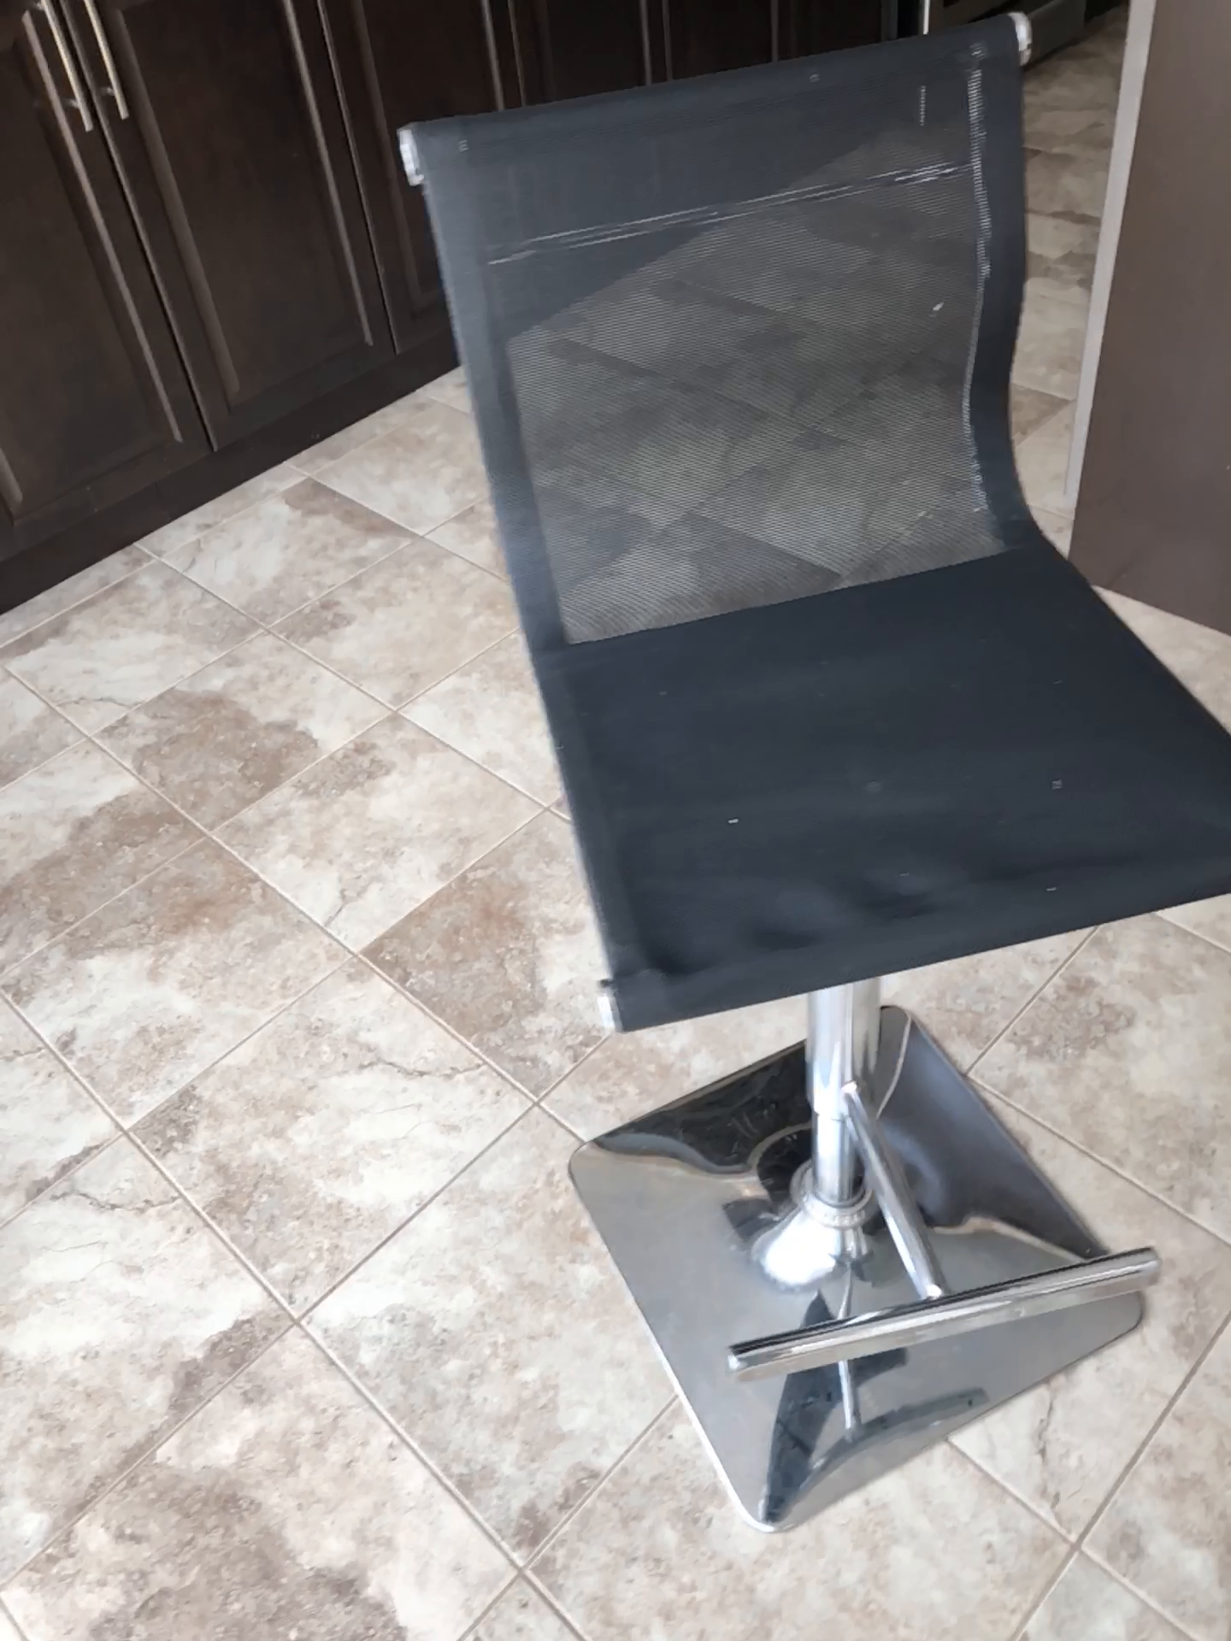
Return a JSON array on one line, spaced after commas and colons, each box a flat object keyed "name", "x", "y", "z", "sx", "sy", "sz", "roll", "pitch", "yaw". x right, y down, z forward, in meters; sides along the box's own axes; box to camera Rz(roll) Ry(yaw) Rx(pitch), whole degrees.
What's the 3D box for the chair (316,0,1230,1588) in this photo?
[{"name": "chair", "x": 0.184, "y": 0.038, "z": 0.987, "sx": 0.540, "sy": 0.977, "sz": 0.552, "roll": -12, "pitch": 44, "yaw": -4}]
